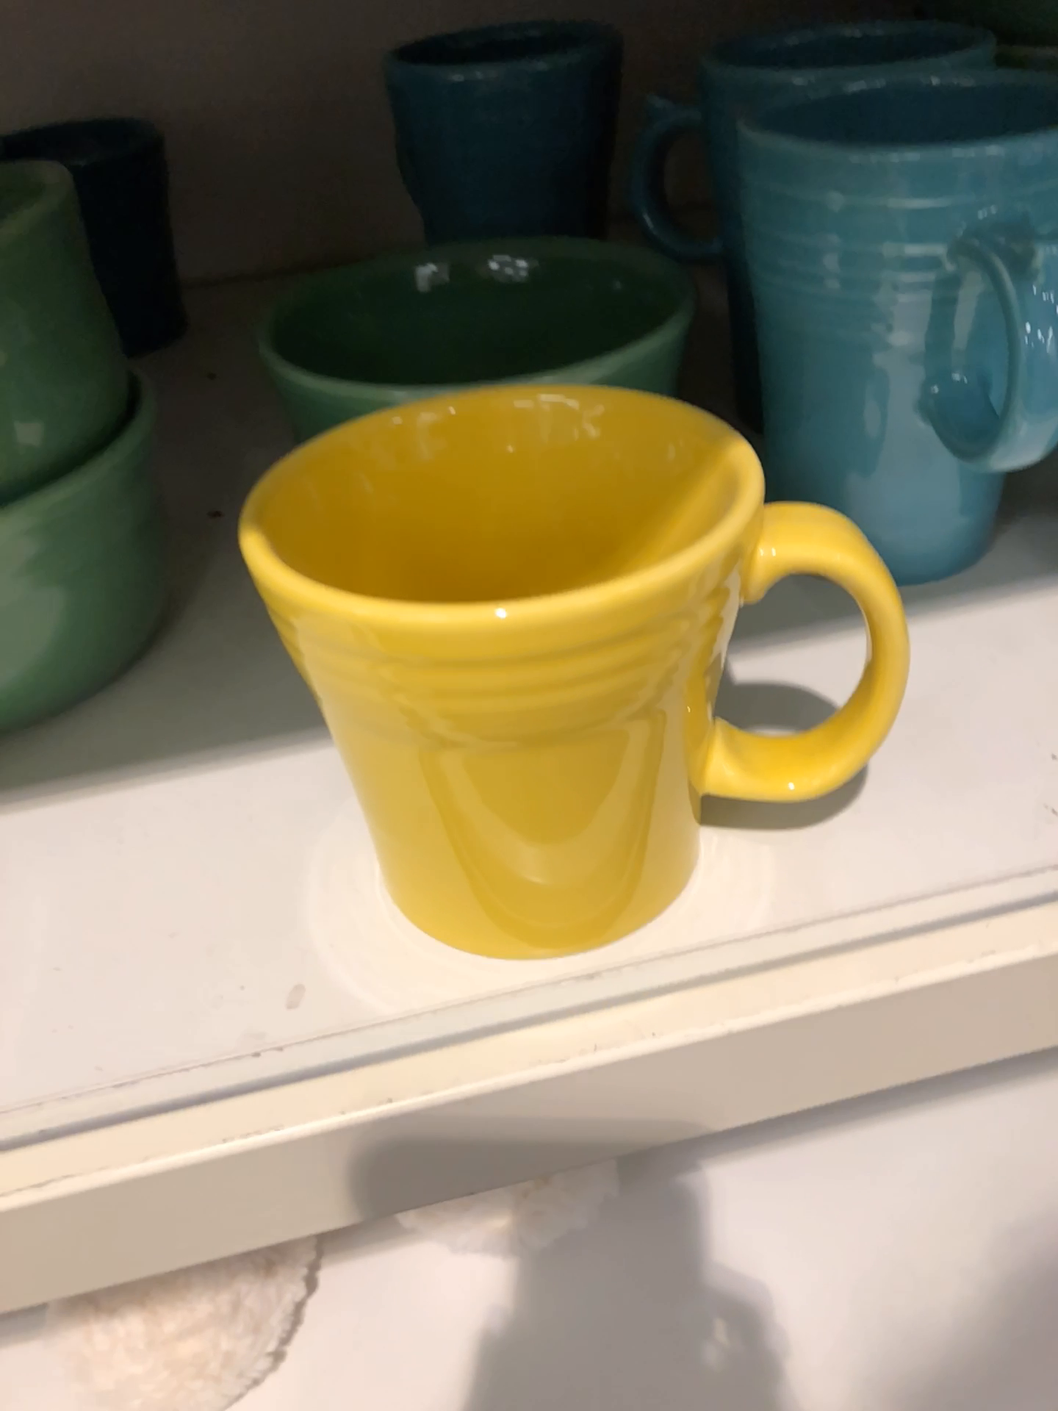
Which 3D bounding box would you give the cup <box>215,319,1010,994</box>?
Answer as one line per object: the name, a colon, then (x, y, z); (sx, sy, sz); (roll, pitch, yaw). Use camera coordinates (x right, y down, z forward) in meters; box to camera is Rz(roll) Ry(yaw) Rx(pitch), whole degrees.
cup: (0.014, -0.014, 0.270); (0.137, 0.100, 0.097); (-8, 38, -2)
